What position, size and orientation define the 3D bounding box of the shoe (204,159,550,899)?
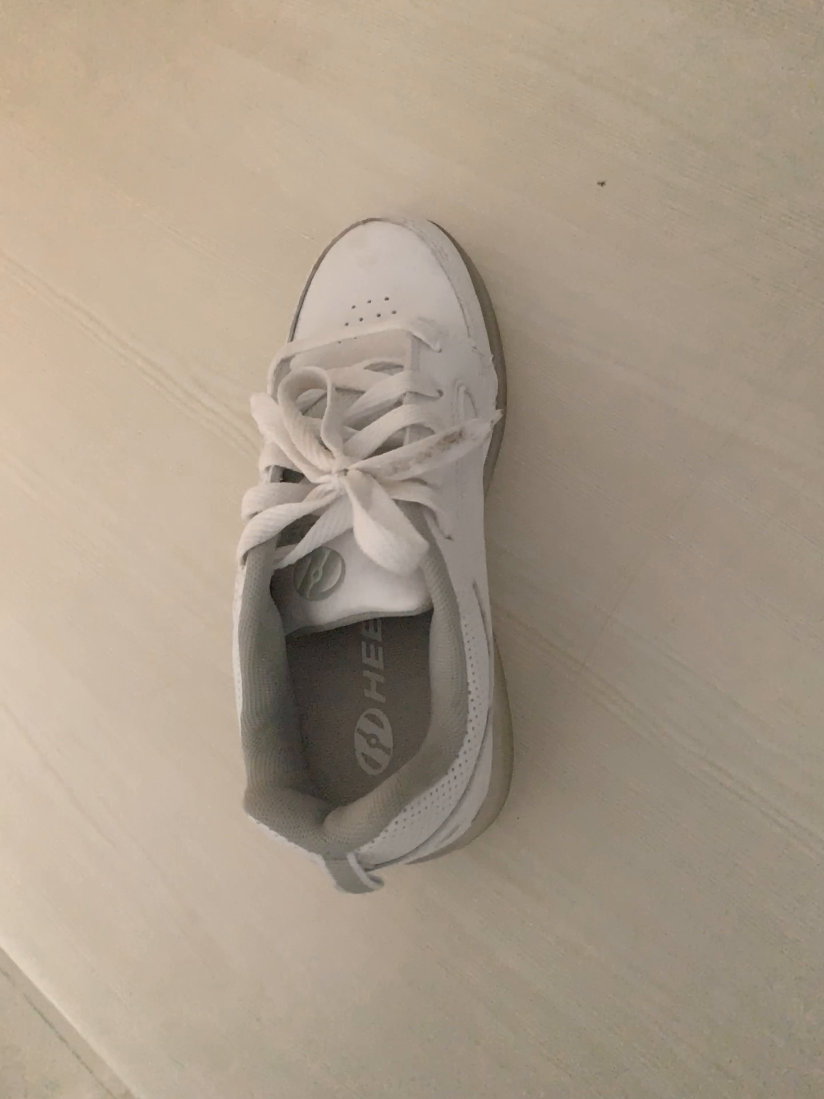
[{"bbox_3d":[-0.010,-0.004,0.308,0.090,0.090,0.230,-6,76,16],"label":"shoe"}]
